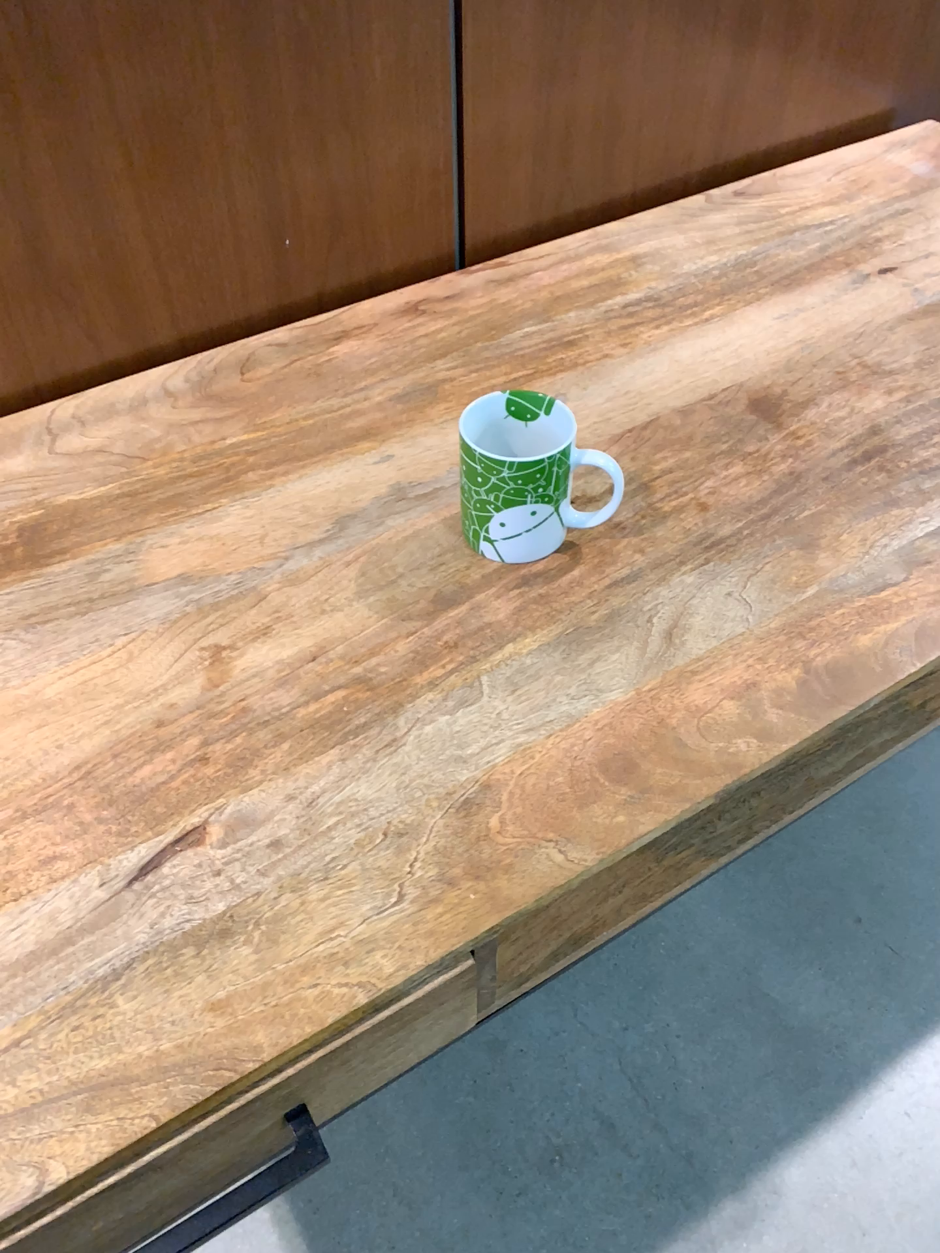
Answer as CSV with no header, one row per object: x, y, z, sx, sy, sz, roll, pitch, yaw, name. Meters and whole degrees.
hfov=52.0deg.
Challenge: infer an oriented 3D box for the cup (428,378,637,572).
0.044,-0.106,0.664,0.120,0.070,0.100,10,48,10,cup
